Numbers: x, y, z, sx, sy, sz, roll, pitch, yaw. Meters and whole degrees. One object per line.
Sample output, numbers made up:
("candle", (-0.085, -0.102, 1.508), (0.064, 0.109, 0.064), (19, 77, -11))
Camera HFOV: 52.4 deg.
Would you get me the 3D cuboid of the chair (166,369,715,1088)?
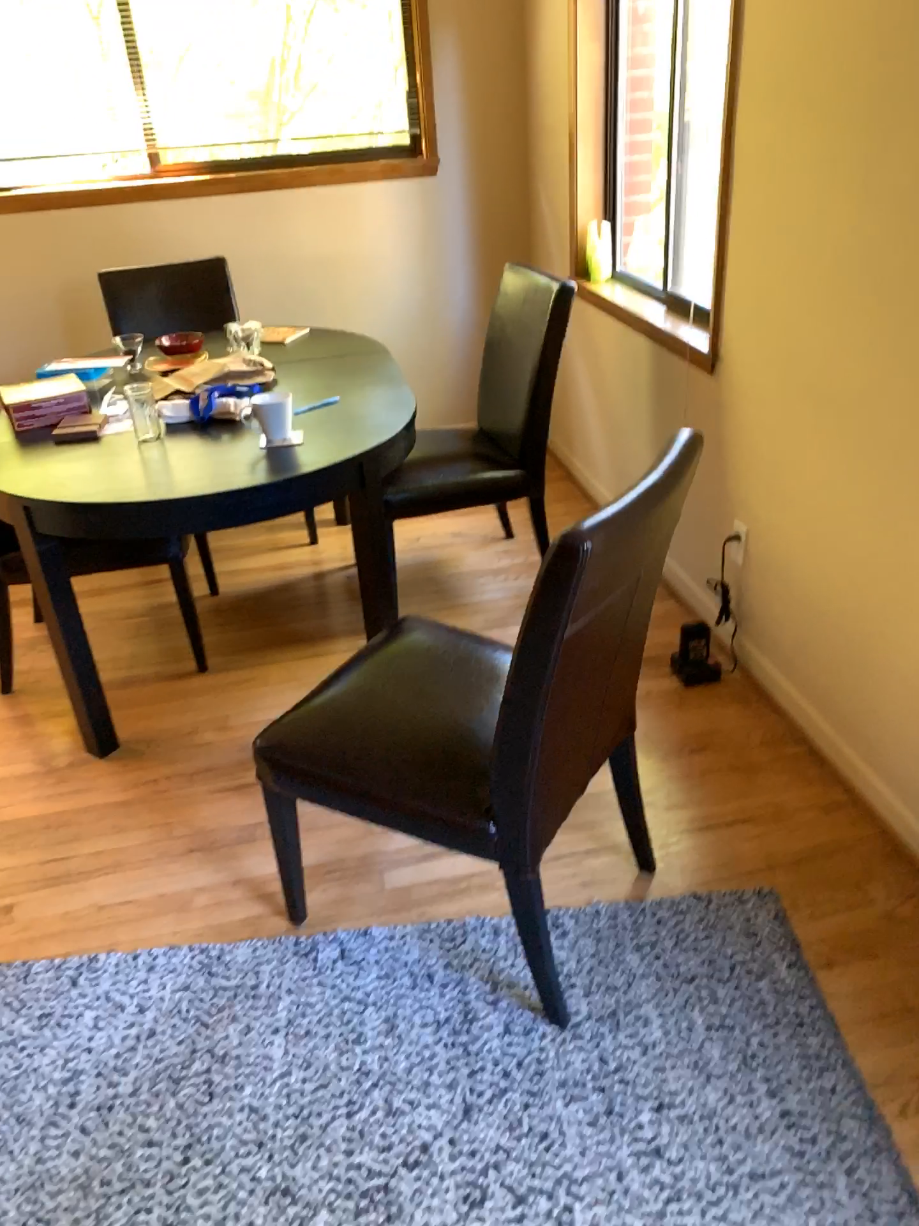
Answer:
("chair", (0.021, 0.167, 1.708), (0.672, 1.034, 0.561), (12, 33, 27))
